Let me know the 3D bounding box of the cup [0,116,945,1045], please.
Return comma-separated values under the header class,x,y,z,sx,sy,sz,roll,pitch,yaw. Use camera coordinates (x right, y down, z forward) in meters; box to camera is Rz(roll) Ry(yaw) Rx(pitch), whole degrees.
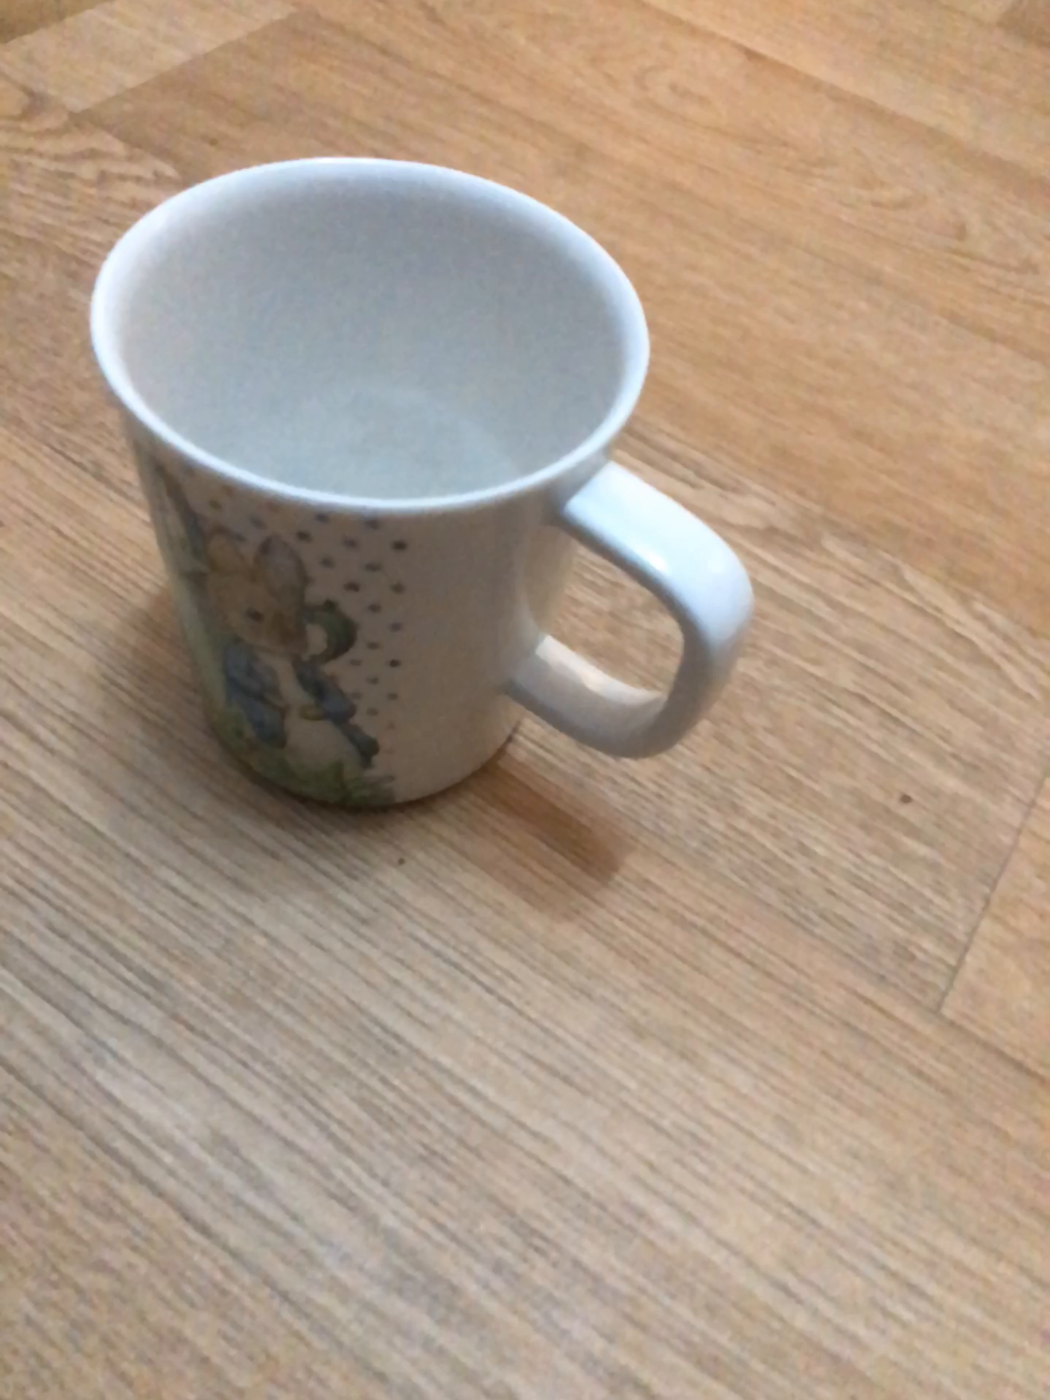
class,x,y,z,sx,sy,sz,roll,pitch,yaw
cup,-0.012,-0.022,0.193,0.110,0.080,0.080,35,57,16
